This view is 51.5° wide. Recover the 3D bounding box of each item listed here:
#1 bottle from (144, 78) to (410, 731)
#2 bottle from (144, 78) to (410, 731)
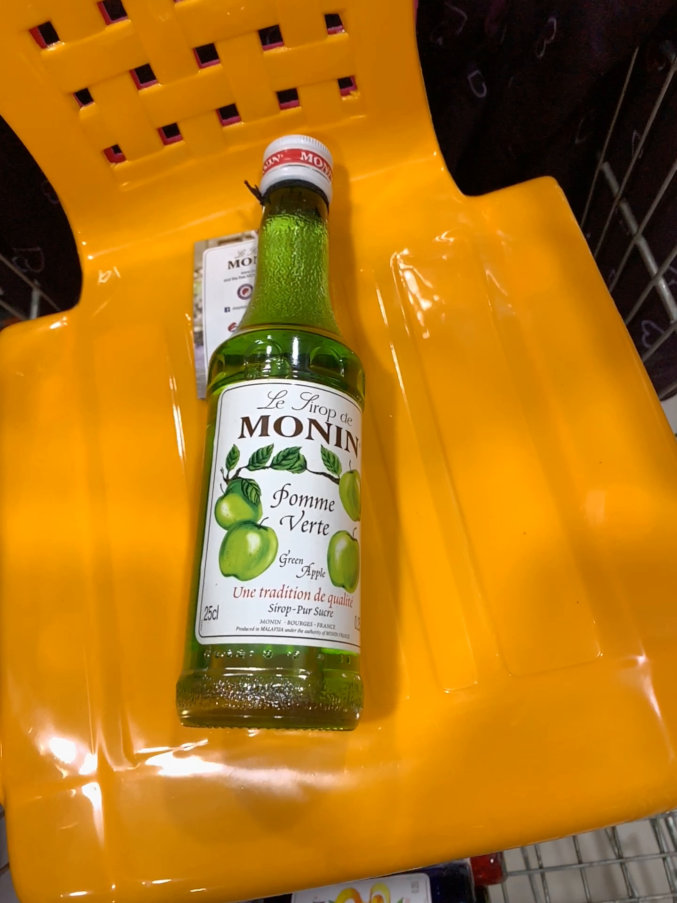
[{"bbox_3d":[-0.017,-0.017,0.259,0.060,0.060,0.220,-21,60,49],"label":"bottle"},{"bbox_3d":[-0.017,-0.017,0.259,0.060,0.060,0.220,-21,60,49],"label":"bottle"}]
